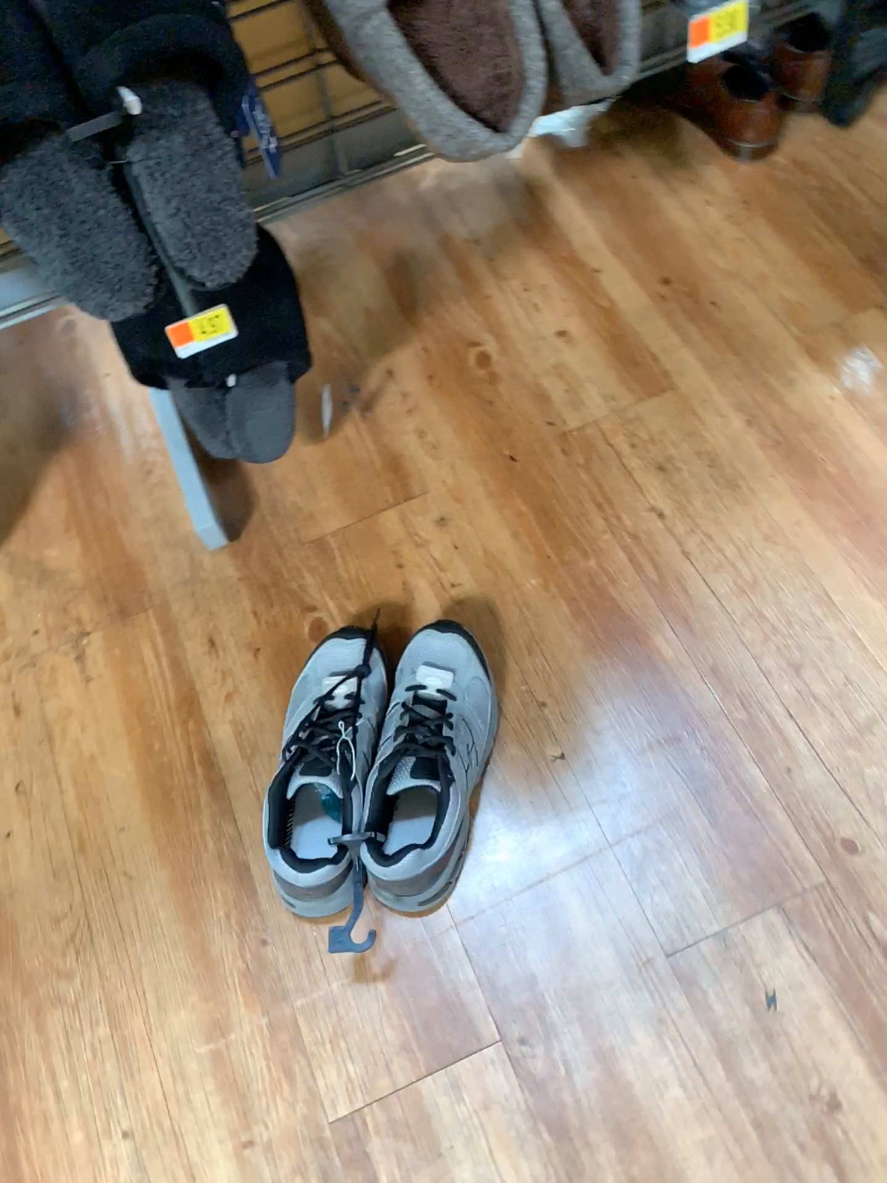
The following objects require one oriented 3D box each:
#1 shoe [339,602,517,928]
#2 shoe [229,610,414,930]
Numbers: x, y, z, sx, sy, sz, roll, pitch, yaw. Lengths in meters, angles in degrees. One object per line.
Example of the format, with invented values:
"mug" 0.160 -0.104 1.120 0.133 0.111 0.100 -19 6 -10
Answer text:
"shoe" -0.007 0.175 0.947 0.117 0.089 0.308 7 64 11
"shoe" -0.119 0.183 0.961 0.123 0.099 0.309 3 63 9
